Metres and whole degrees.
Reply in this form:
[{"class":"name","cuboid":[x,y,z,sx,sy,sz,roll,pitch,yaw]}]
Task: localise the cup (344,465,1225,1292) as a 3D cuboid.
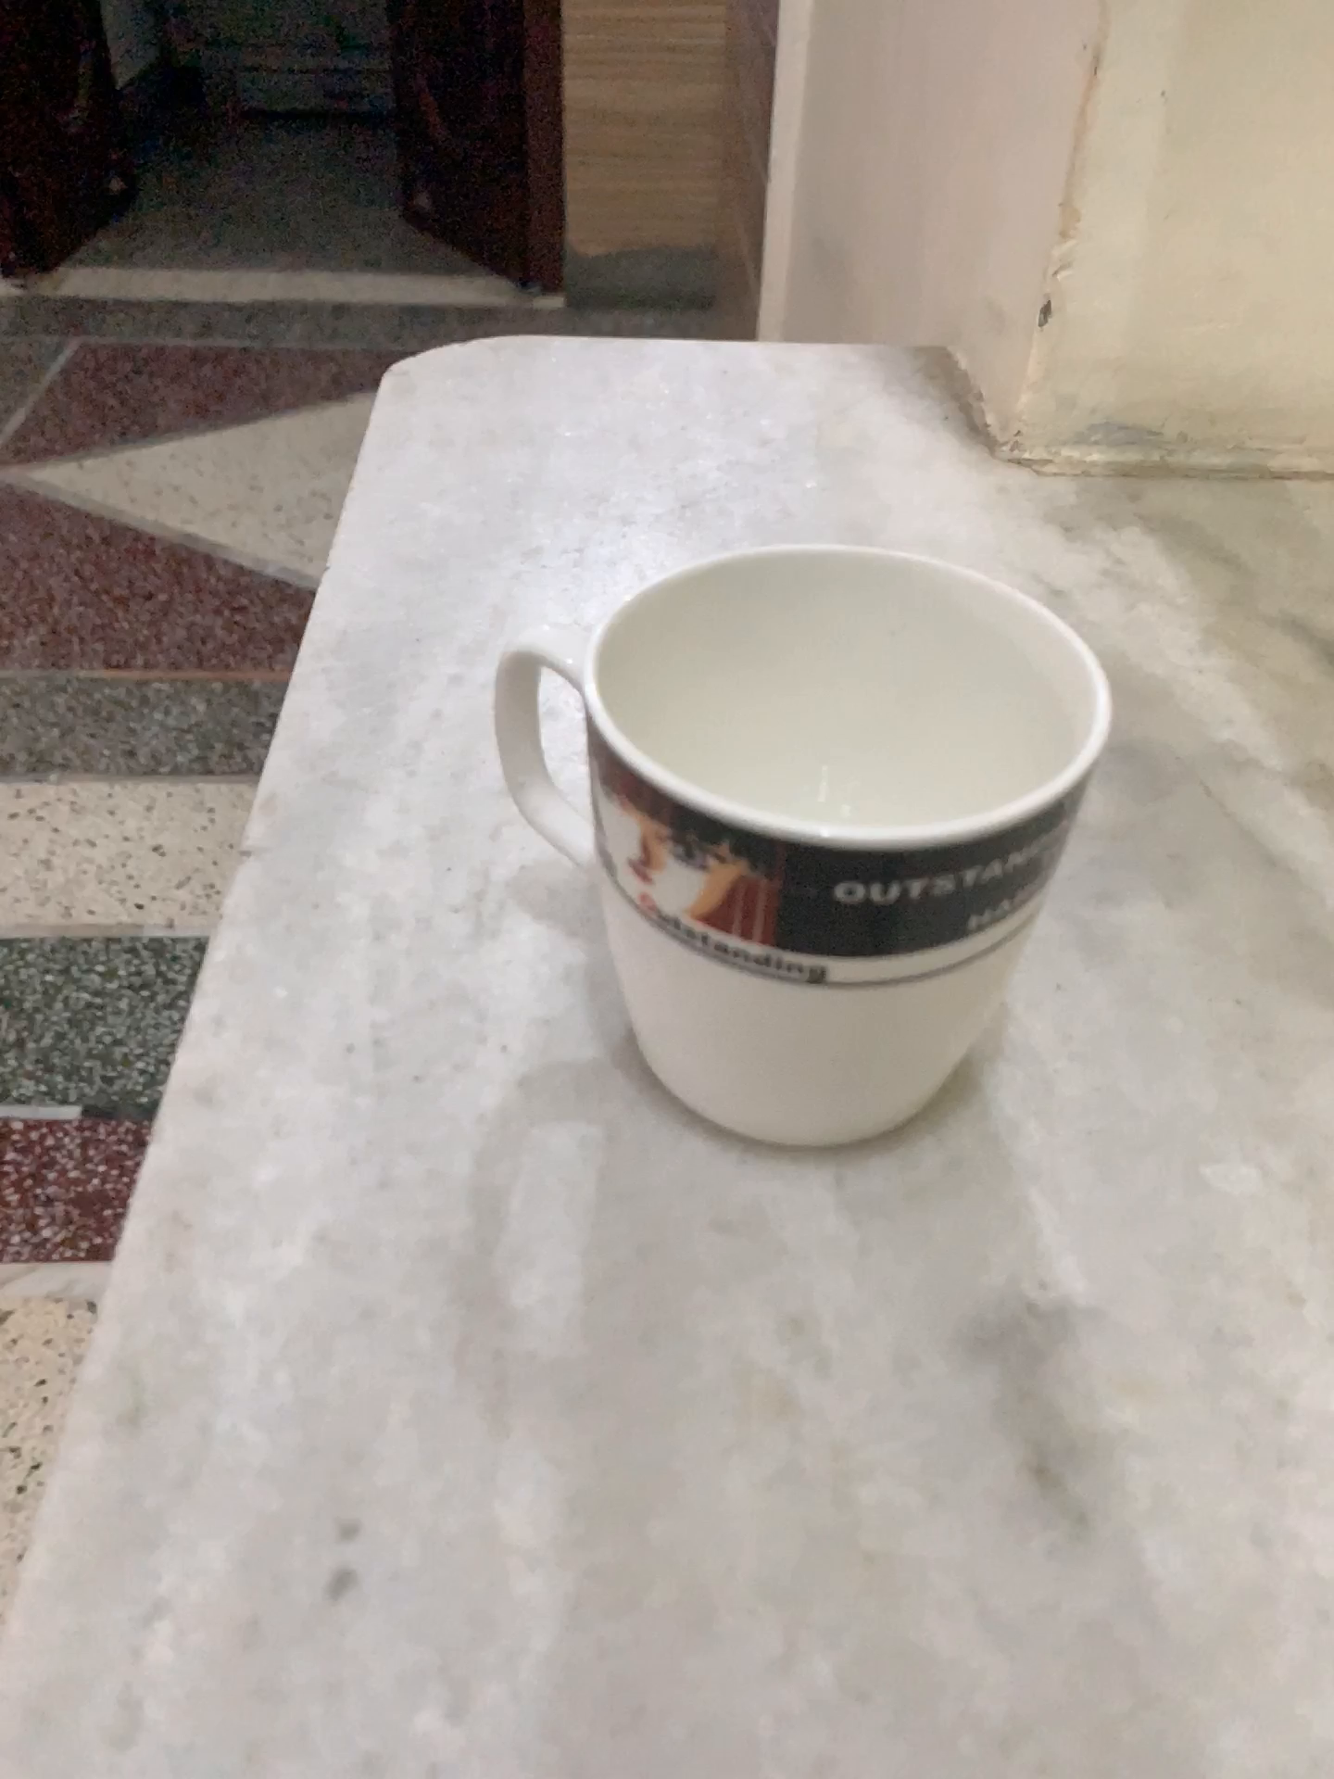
[{"class":"cup","cuboid":[0.014,-0.008,0.198,0.090,0.060,0.070,29,48,27]}]
